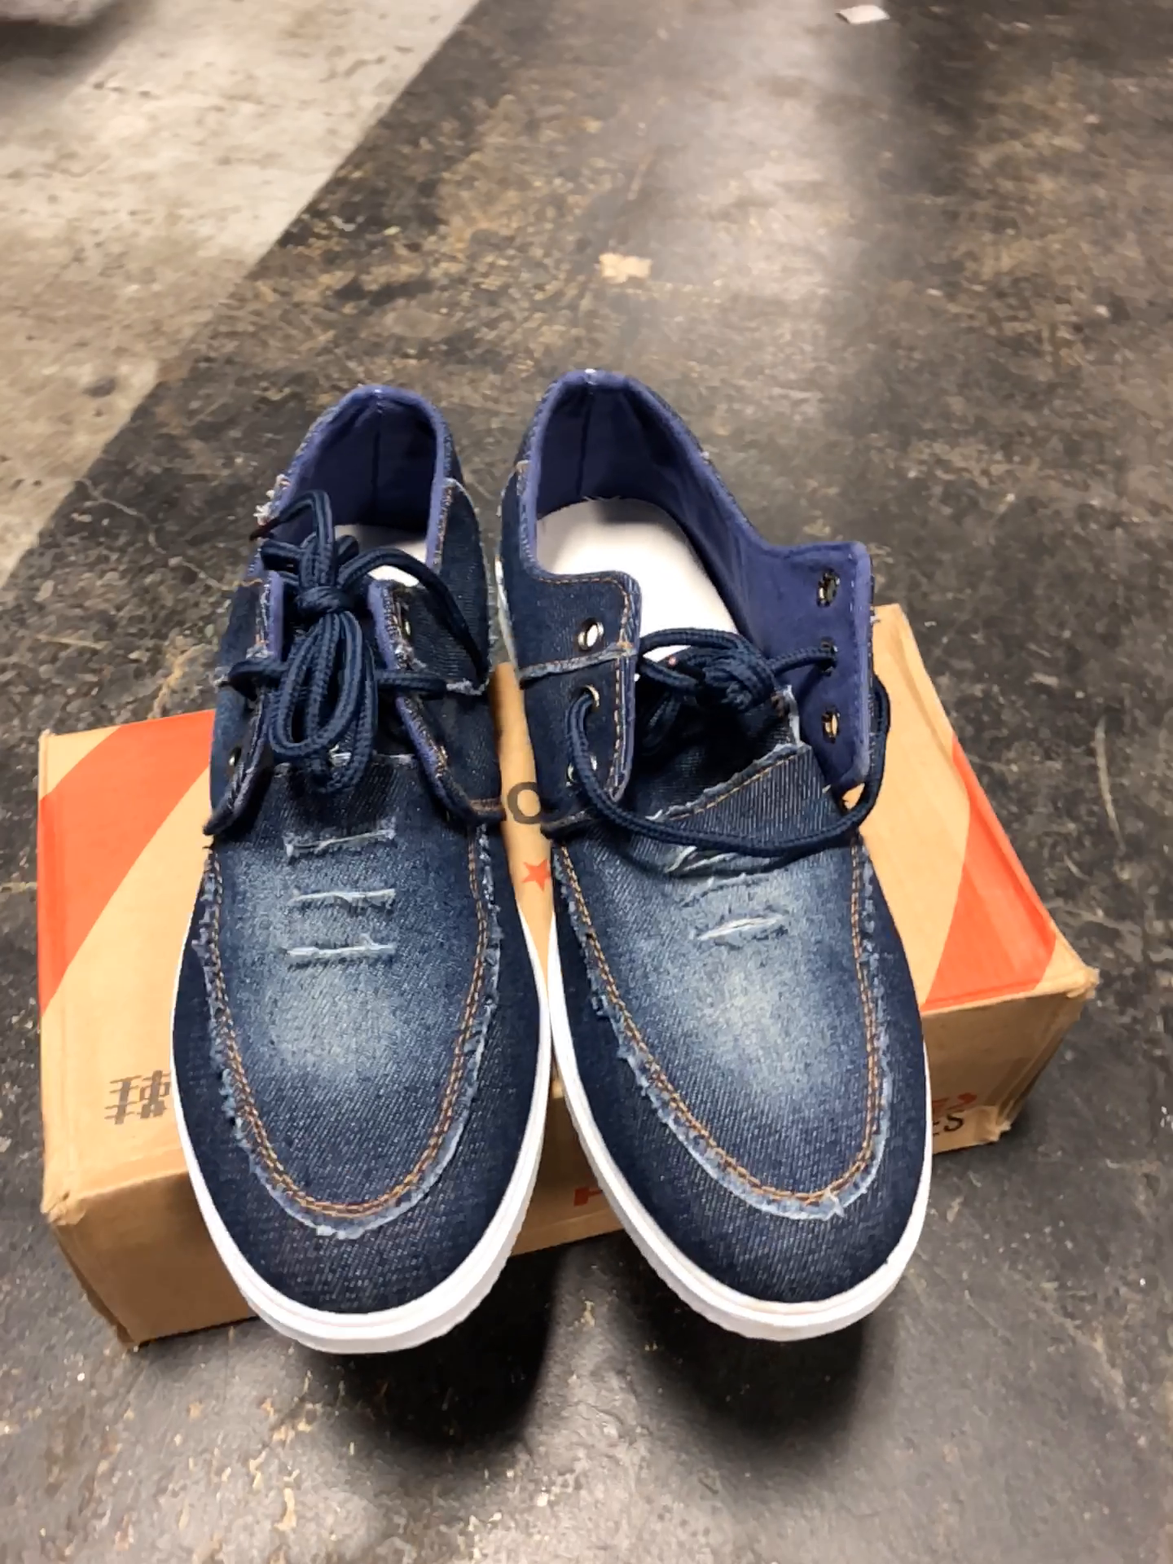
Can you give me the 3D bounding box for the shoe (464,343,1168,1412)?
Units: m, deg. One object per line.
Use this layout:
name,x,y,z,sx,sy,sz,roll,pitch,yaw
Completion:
shoe,0.032,0.001,0.338,0.100,0.079,0.272,-5,52,-7

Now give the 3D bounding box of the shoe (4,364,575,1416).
shoe,-0.057,0.006,0.317,0.090,0.079,0.252,-2,52,-5
